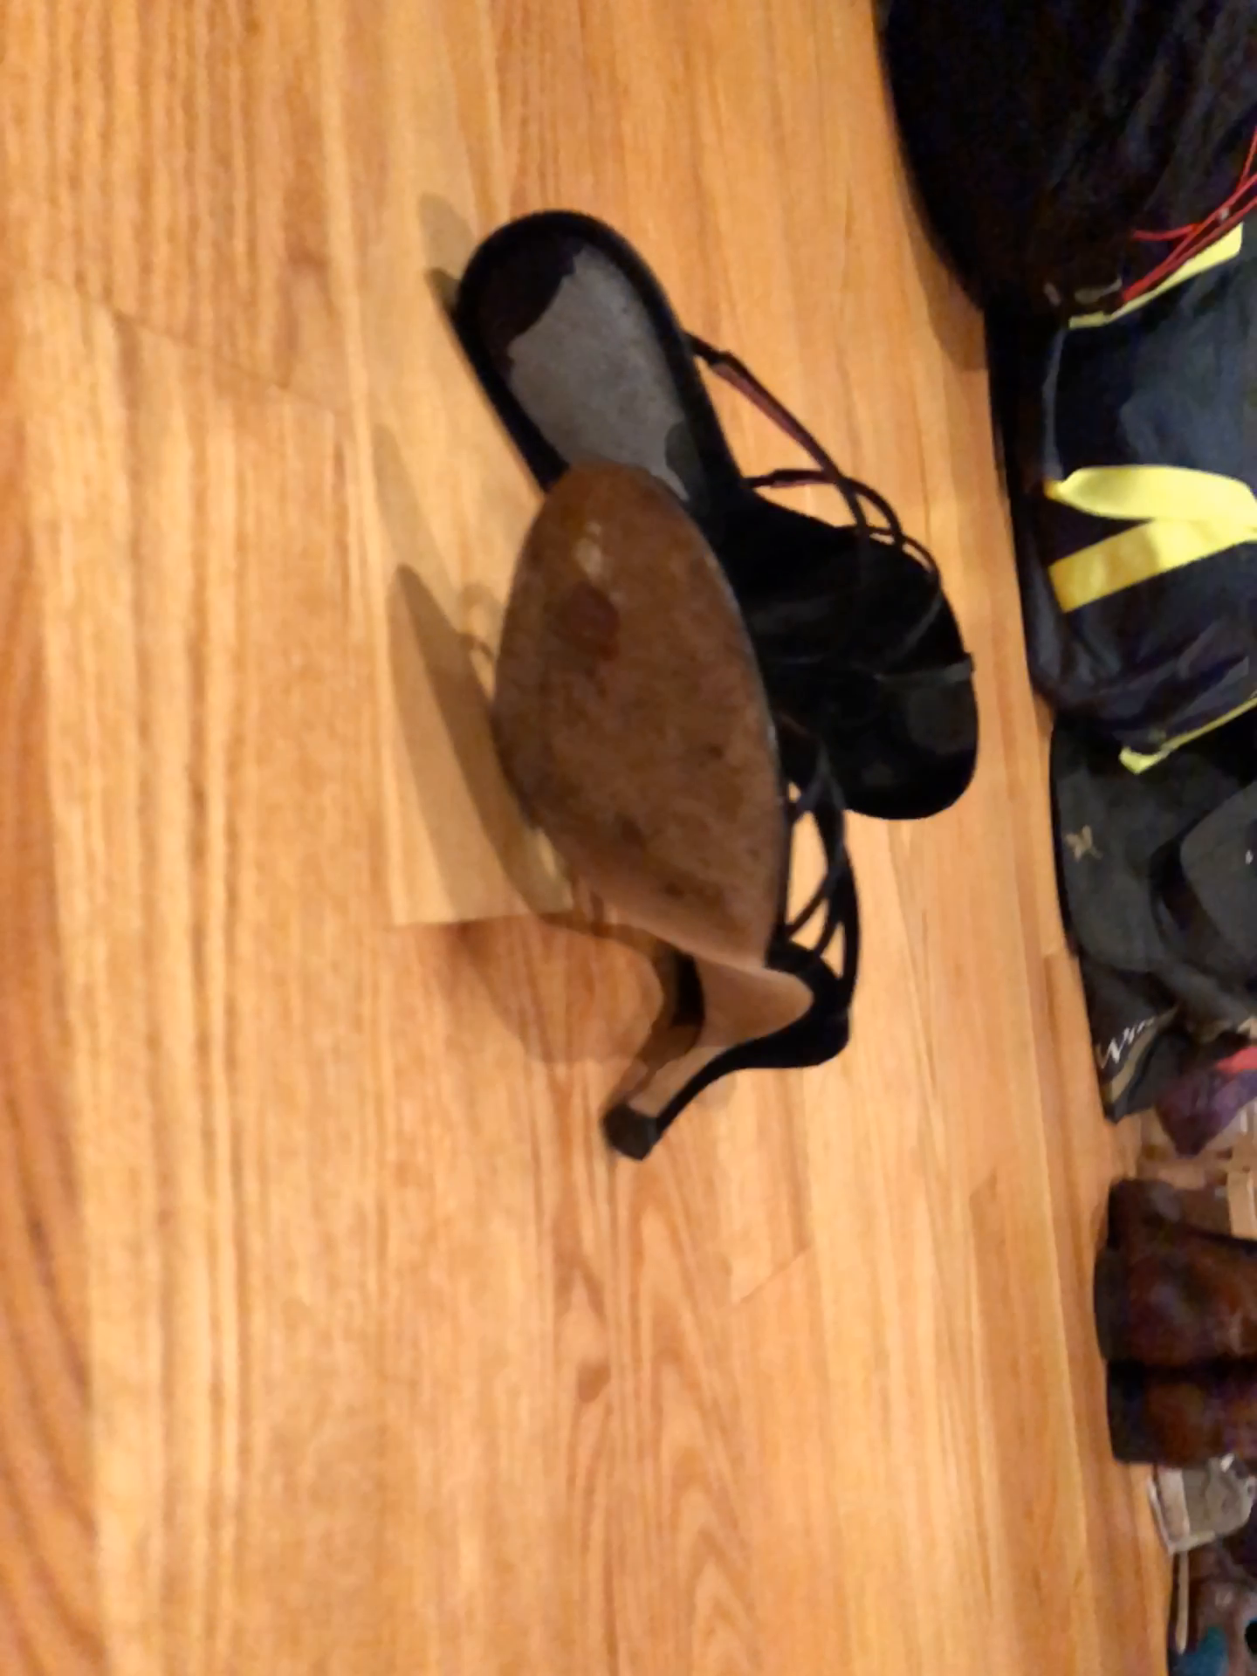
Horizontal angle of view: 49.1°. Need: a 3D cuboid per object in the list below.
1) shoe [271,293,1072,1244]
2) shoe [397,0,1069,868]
[{"bbox_3d":[0.034,0.005,0.332,0.216,0.104,0.102,57,35,-44],"label":"shoe"},{"bbox_3d":[0.050,-0.099,0.391,0.236,0.104,0.082,58,37,-43],"label":"shoe"}]
